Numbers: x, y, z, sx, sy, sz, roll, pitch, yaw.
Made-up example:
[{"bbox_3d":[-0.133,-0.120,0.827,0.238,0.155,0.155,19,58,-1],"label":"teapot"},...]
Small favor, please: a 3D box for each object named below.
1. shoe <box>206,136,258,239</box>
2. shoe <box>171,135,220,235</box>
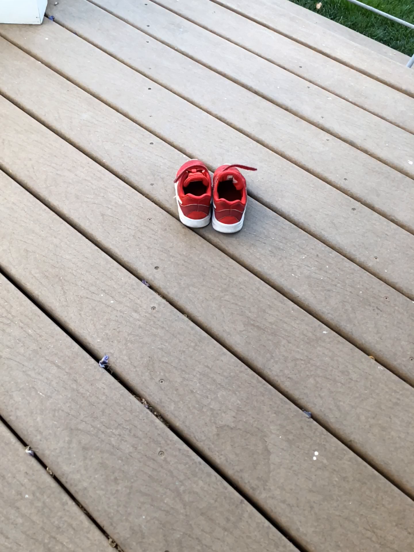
[{"bbox_3d":[0.045,-0.163,0.825,0.077,0.087,0.168,5,54,-2],"label":"shoe"},{"bbox_3d":[-0.026,-0.168,0.830,0.077,0.087,0.168,1,54,-6],"label":"shoe"}]
